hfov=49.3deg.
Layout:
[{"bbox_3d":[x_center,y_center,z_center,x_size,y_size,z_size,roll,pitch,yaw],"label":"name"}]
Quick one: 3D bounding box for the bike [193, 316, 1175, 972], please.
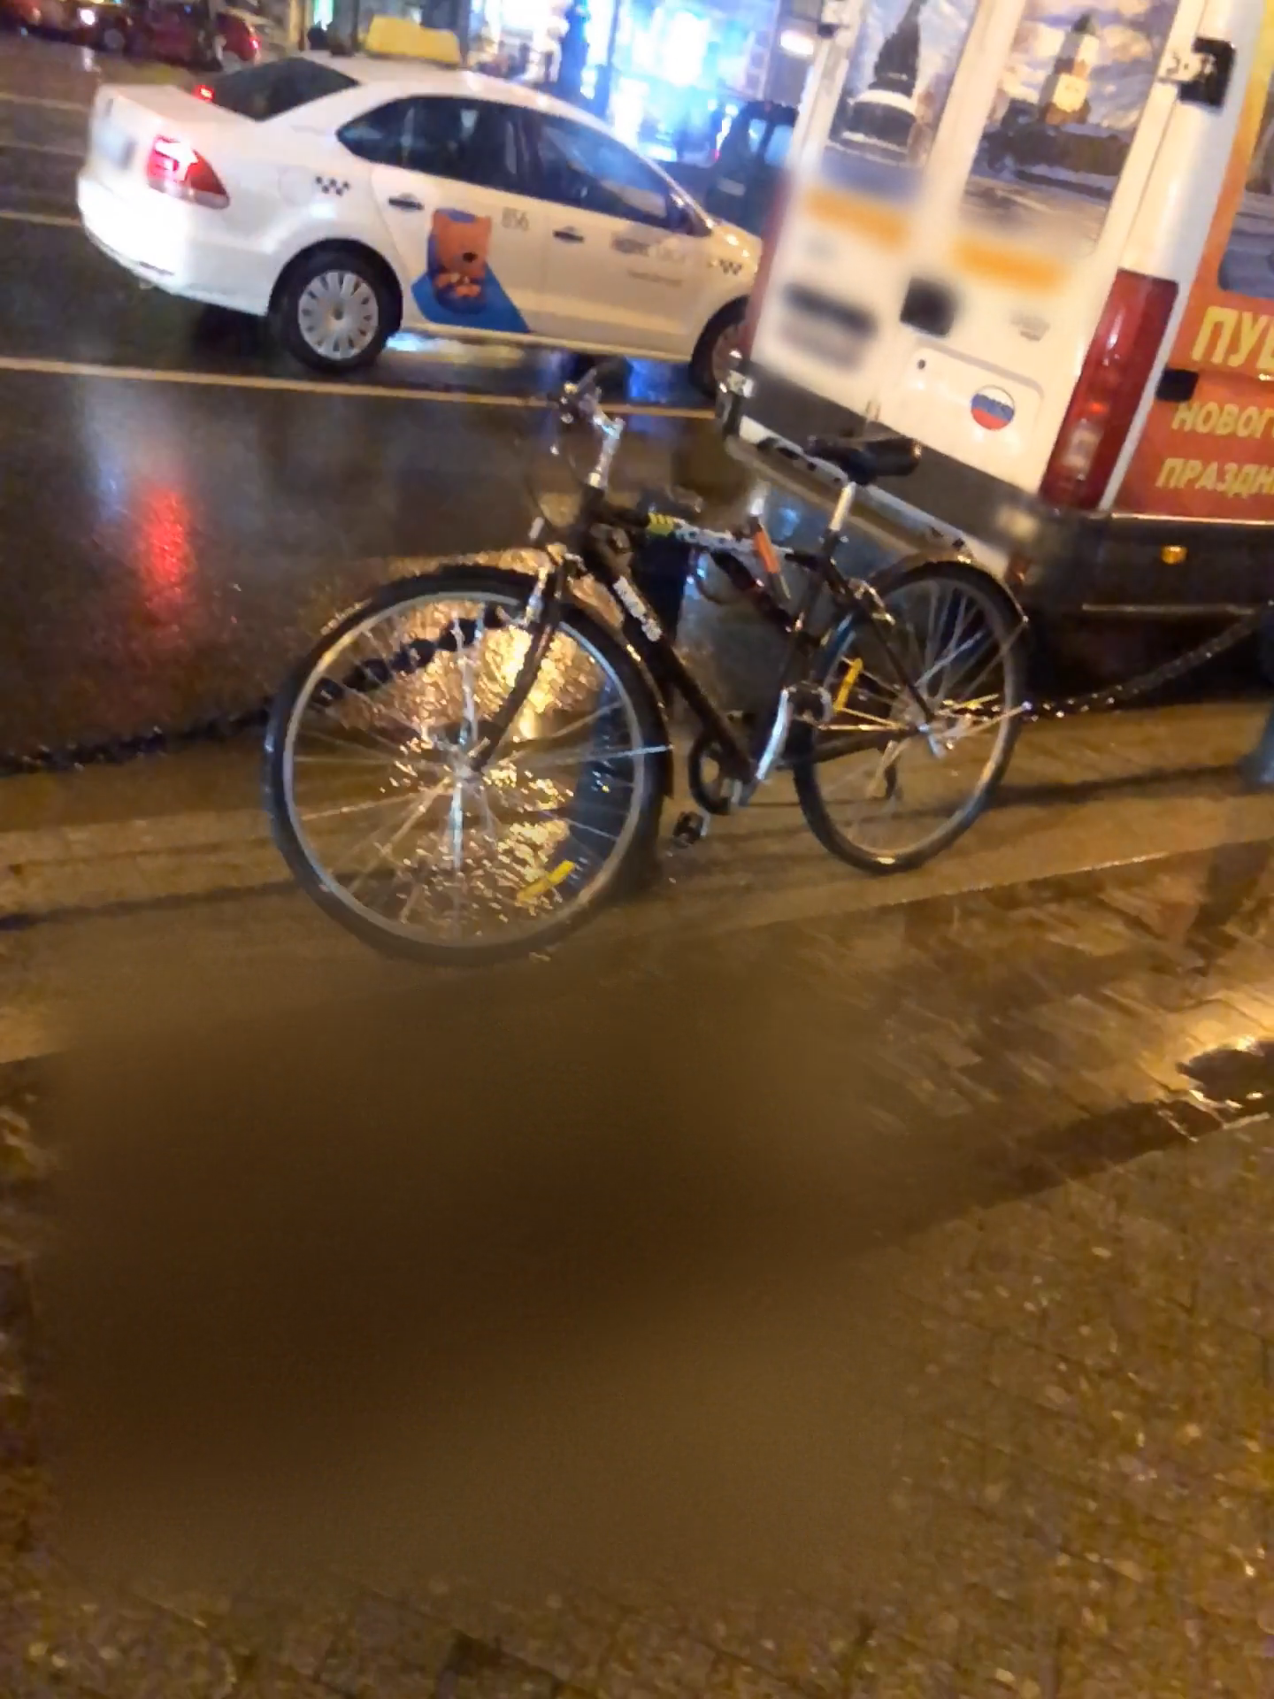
[{"bbox_3d":[0.102,-0.444,2.781,1.750,0.961,0.555,-7,31,-30],"label":"bike"}]
